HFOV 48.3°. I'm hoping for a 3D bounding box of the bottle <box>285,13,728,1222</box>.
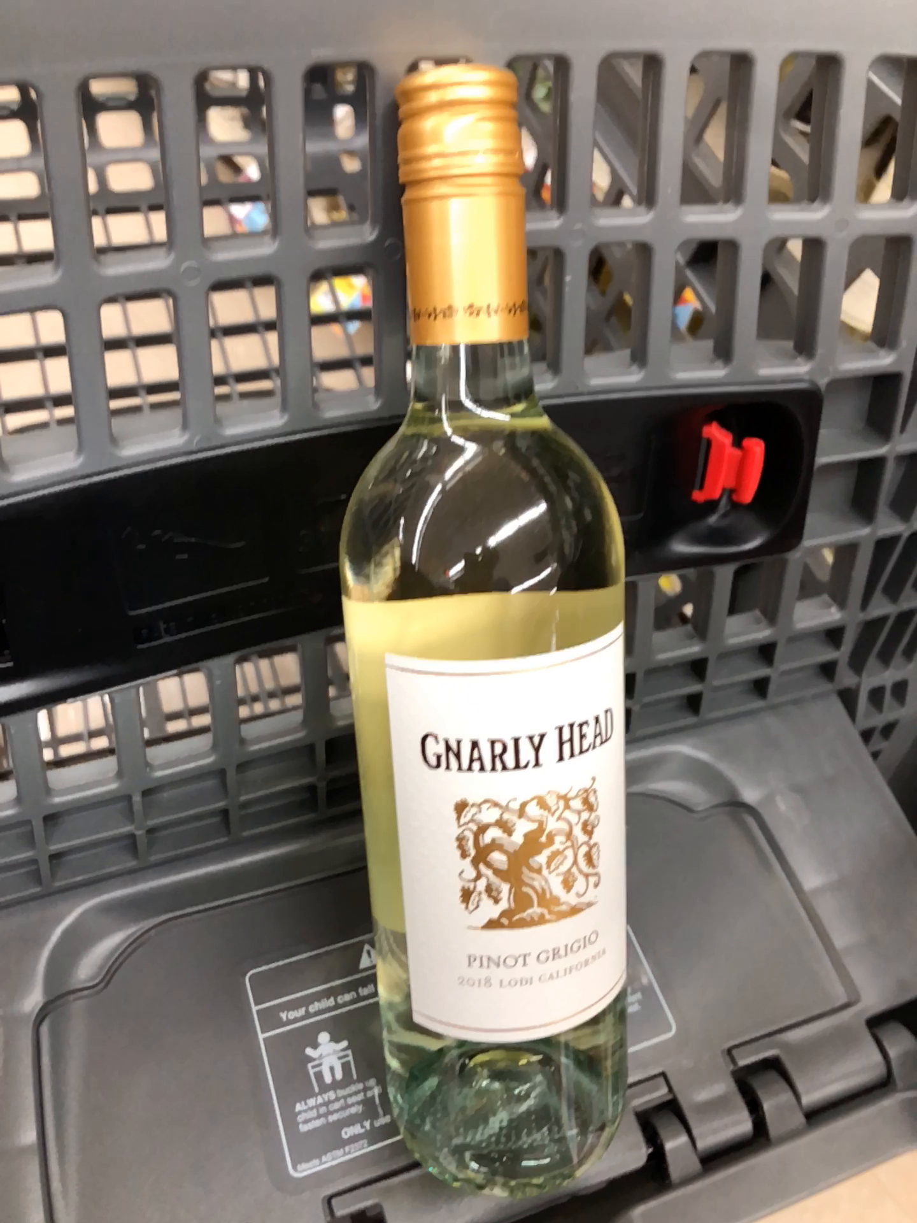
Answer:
[{"bbox_3d":[0.015,0.013,0.264,0.080,0.070,0.280,-8,104,-15],"label":"bottle"}]
